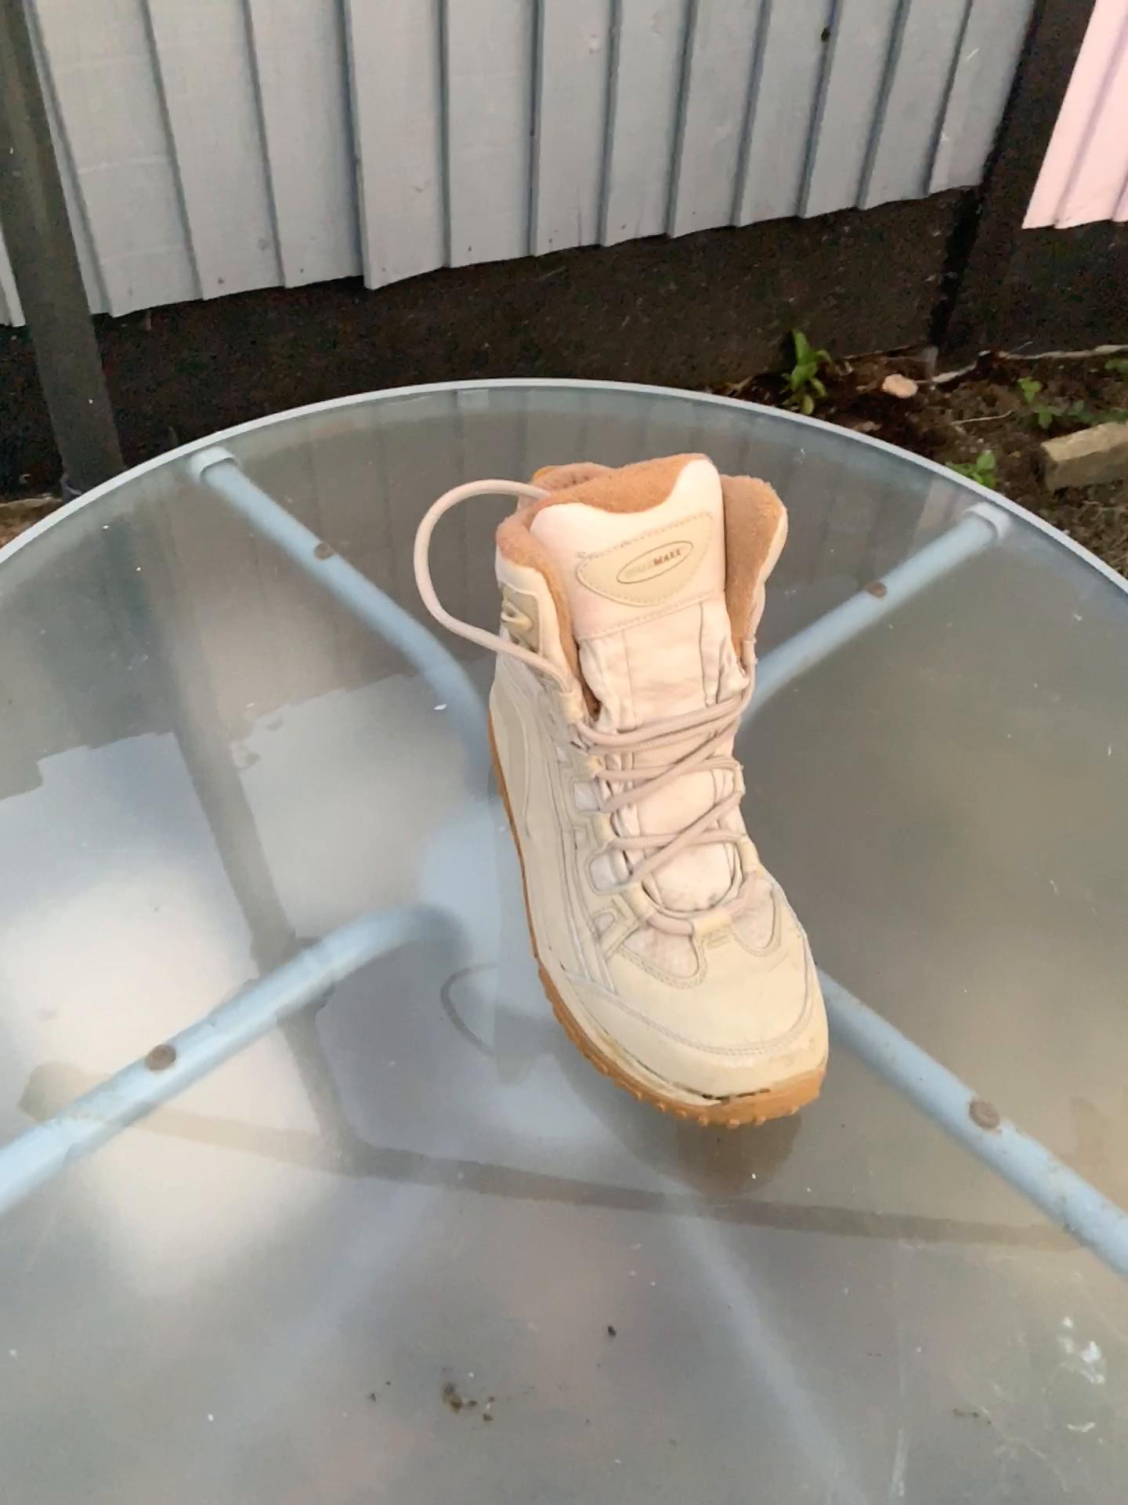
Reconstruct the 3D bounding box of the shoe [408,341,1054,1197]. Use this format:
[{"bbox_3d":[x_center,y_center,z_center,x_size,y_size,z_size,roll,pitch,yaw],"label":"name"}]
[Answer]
[{"bbox_3d":[0.034,-0.005,0.482,0.120,0.198,0.282,-13,50,-16],"label":"shoe"}]
